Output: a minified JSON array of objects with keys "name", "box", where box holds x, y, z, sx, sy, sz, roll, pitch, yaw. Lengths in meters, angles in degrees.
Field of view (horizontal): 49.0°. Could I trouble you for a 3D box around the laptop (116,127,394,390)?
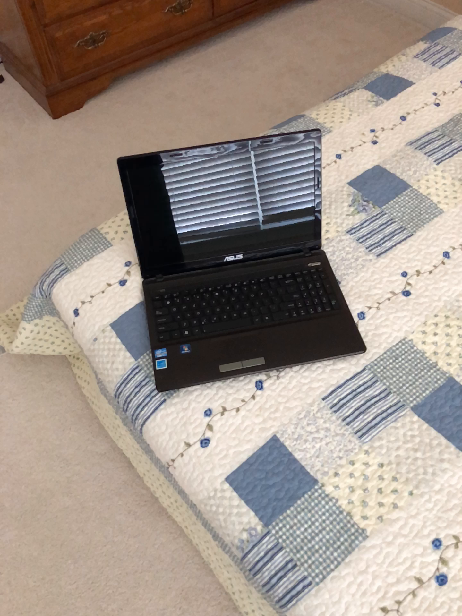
[{"name":"laptop","box":[0.017,-0.094,0.863,0.358,0.193,0.351,-10,57,-6]}]
